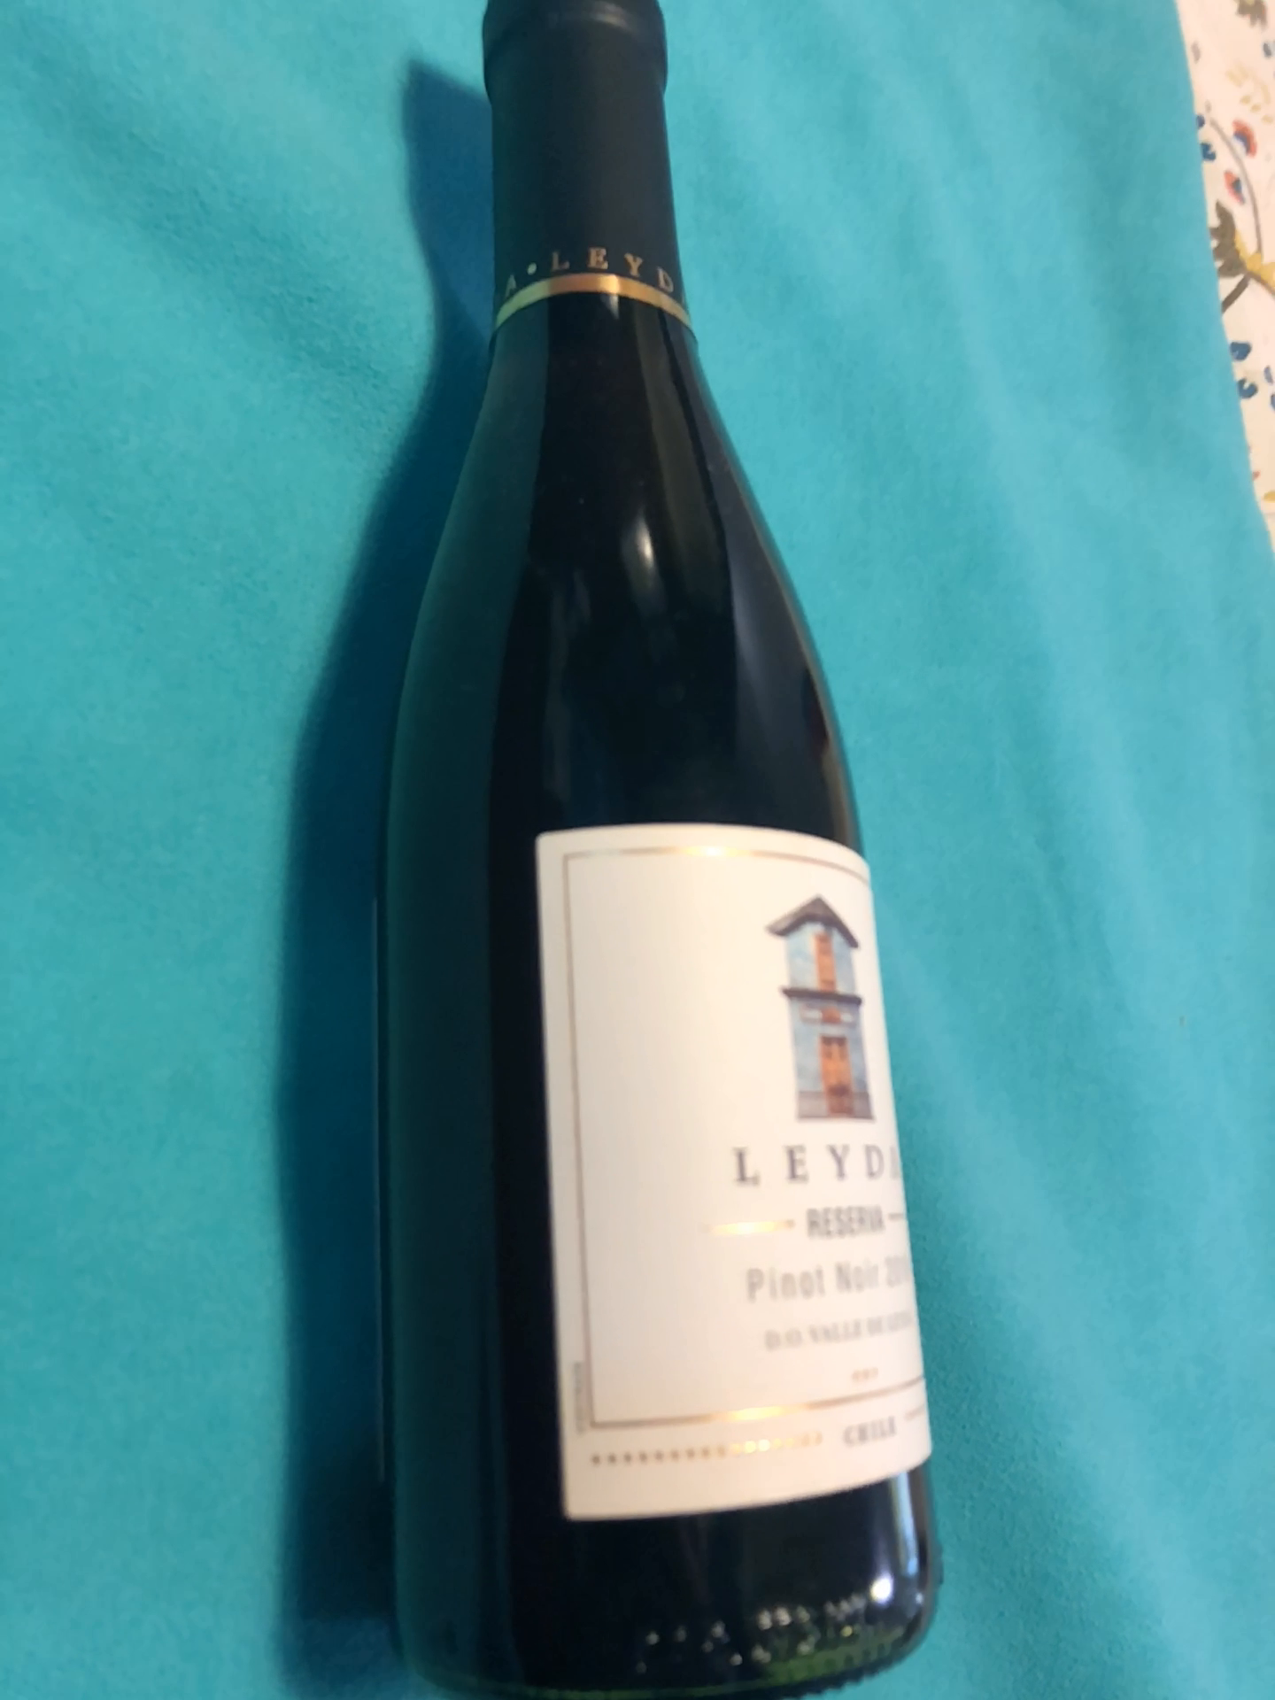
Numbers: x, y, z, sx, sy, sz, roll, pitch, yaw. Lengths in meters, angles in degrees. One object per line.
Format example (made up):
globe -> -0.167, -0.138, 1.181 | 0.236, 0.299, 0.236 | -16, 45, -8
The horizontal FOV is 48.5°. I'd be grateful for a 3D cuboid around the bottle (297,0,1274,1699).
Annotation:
bottle -> 0.019, -0.043, 0.184 | 0.070, 0.080, 0.260 | 14, 70, -35
